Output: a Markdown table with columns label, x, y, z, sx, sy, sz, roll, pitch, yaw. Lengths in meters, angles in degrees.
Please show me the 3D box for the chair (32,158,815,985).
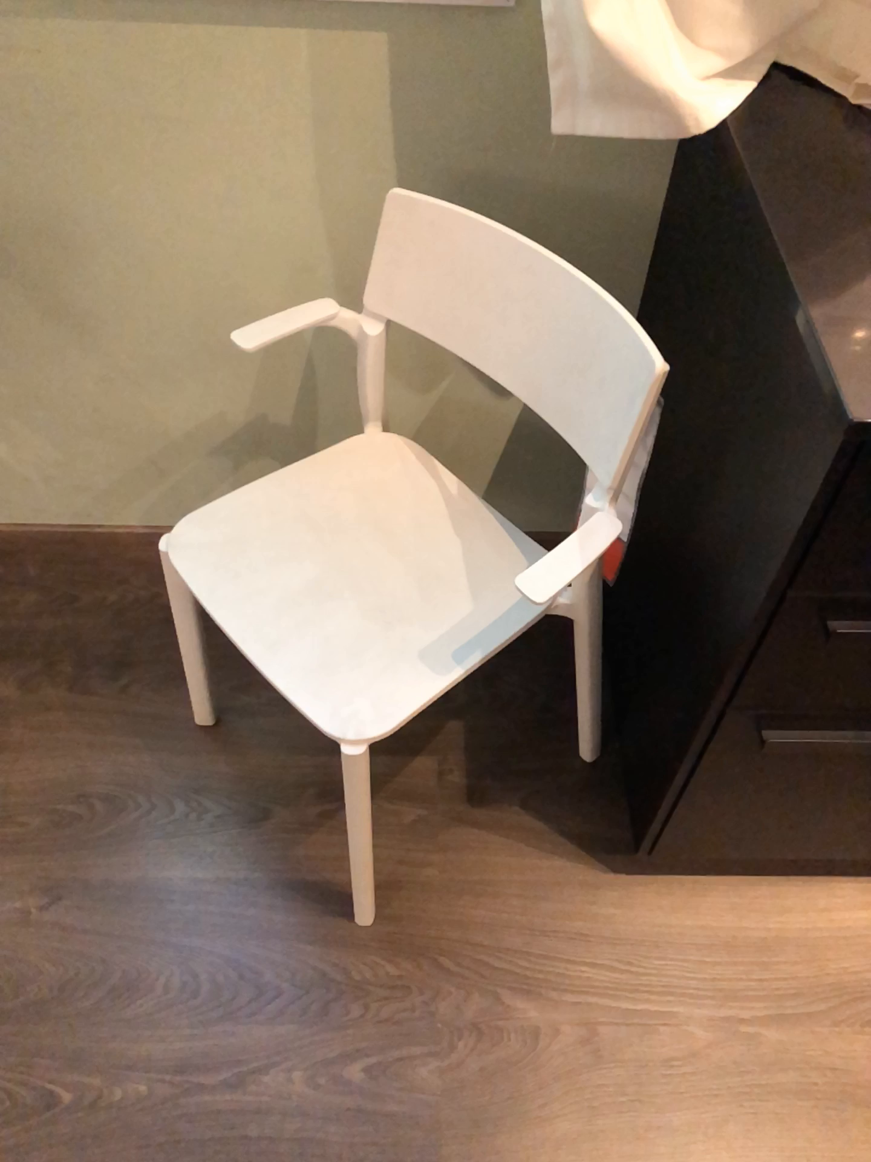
| label | x | y | z | sx | sy | sz | roll | pitch | yaw |
| --- | --- | --- | --- | --- | --- | --- | --- | --- | --- |
| chair | -0.024 | 0.001 | 1.271 | 0.581 | 0.756 | 0.562 | -33 | 59 | -25 |
